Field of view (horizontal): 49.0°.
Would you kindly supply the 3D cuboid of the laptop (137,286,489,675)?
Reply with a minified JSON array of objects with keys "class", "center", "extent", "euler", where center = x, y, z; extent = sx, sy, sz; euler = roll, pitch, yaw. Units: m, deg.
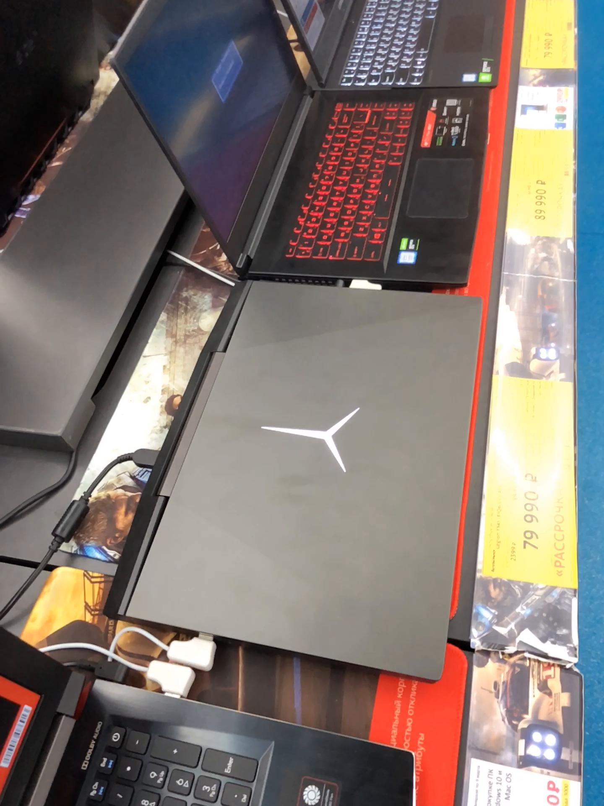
[{"class":"laptop","center":[0.026,0.032,0.572],"extent":[0.227,0.007,0.345],"euler":[7,57,16]}]
